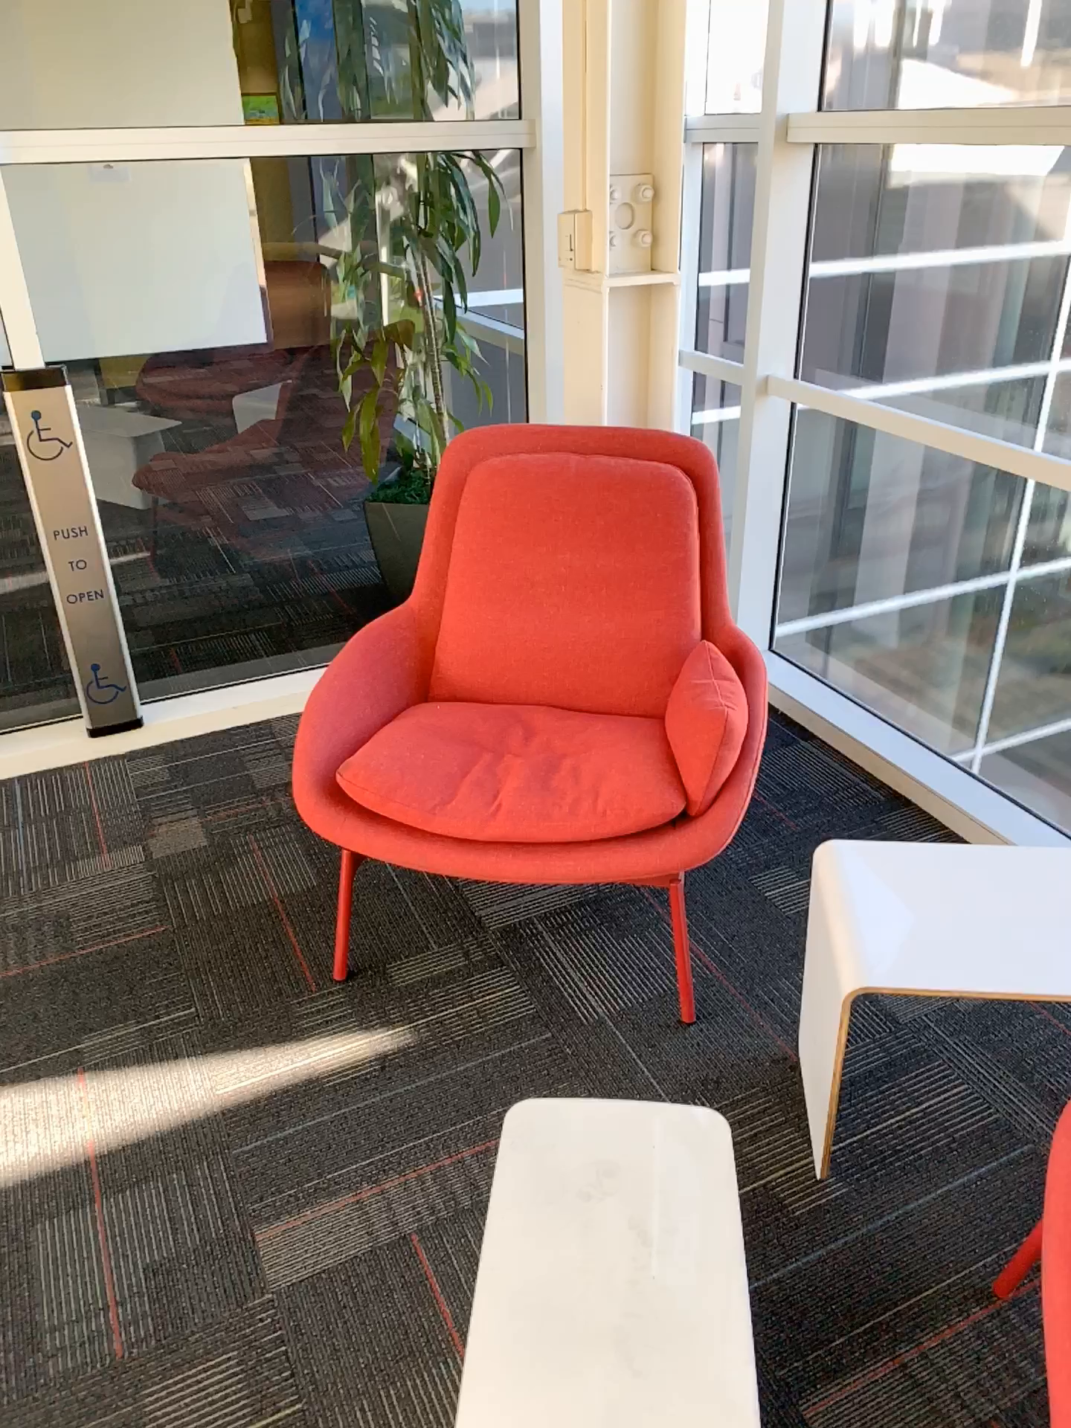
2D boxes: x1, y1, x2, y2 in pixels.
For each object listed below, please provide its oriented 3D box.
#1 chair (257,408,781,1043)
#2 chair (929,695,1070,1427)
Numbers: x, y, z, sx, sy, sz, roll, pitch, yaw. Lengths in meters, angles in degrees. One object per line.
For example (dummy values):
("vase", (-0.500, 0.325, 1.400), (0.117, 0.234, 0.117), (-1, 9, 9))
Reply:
("chair", (0.041, -0.028, 2.379), (0.871, 1.054, 0.824), (4, 29, 10))
("chair", (0.942, 0.665, 0.962), (0.921, 0.994, 0.874), (5, 29, 12))
